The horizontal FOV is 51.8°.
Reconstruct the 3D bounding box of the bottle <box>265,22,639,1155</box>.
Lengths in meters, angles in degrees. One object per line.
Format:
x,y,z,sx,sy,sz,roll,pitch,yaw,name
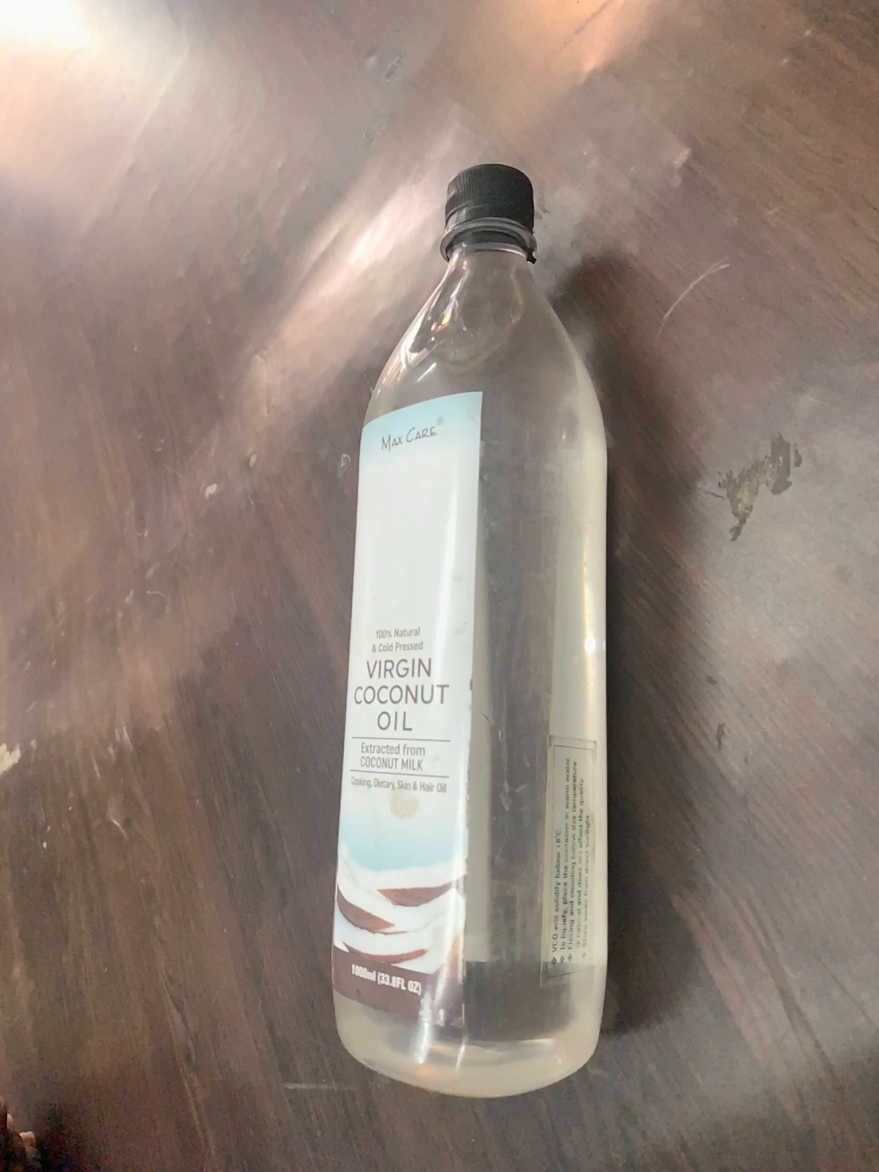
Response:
0.007,-0.006,0.281,0.080,0.070,0.290,-7,77,42,bottle
